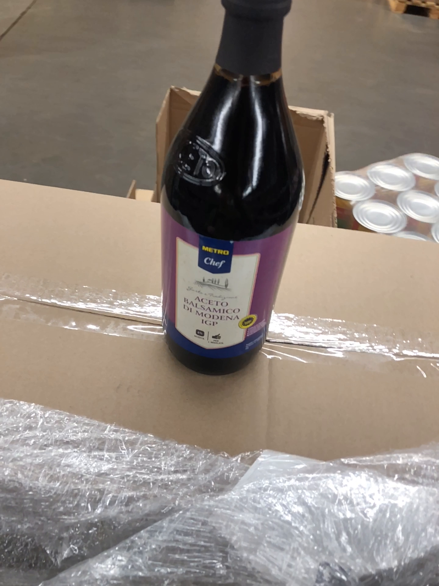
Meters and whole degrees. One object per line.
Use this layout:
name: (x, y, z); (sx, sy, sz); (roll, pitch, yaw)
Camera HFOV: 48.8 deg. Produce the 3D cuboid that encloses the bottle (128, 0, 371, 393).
bottle: (0.005, -0.049, 0.303); (0.090, 0.257, 0.091); (3, 49, -4)
